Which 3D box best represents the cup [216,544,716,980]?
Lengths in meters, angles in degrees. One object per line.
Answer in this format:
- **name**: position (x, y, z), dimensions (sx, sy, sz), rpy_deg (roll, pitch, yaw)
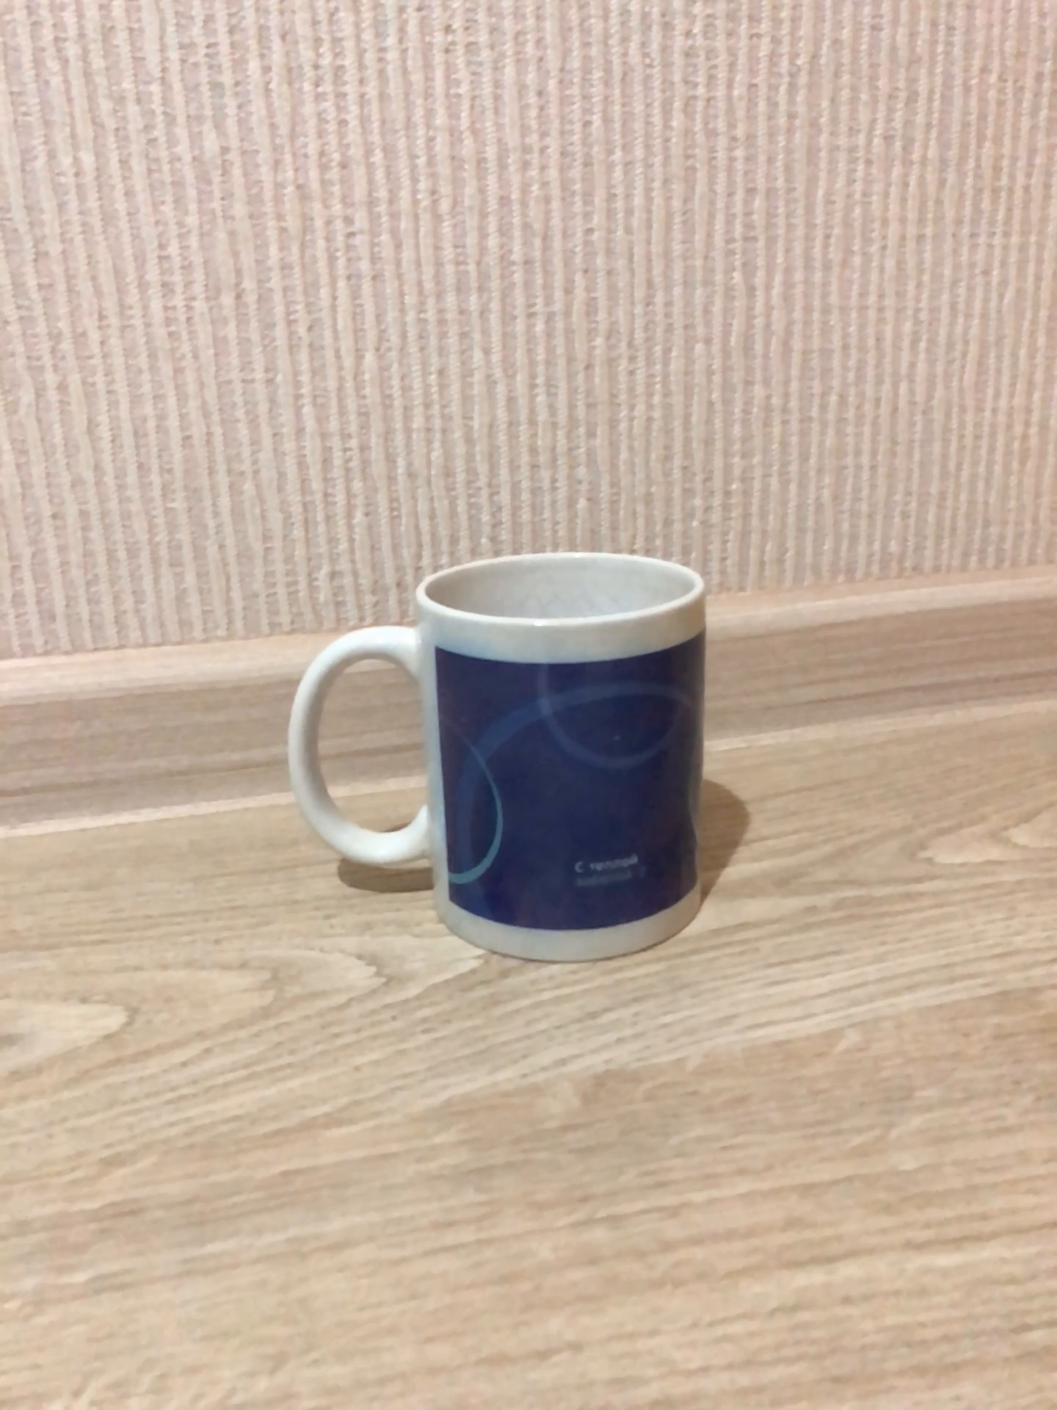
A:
- **cup**: position (-0.013, 0.012, 0.343), dimensions (0.122, 0.099, 0.094), rpy_deg (-1, 18, 2)
